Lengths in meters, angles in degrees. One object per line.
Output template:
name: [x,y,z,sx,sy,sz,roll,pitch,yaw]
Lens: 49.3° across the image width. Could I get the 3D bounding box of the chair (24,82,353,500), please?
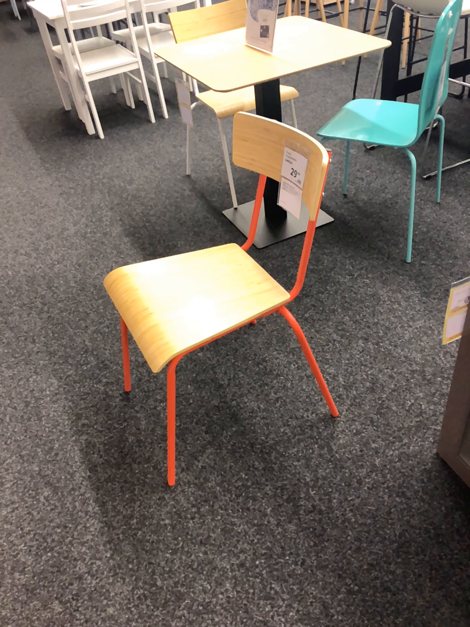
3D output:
chair: [-0.080,-0.059,1.347,0.561,0.816,0.502,-23,41,-16]
